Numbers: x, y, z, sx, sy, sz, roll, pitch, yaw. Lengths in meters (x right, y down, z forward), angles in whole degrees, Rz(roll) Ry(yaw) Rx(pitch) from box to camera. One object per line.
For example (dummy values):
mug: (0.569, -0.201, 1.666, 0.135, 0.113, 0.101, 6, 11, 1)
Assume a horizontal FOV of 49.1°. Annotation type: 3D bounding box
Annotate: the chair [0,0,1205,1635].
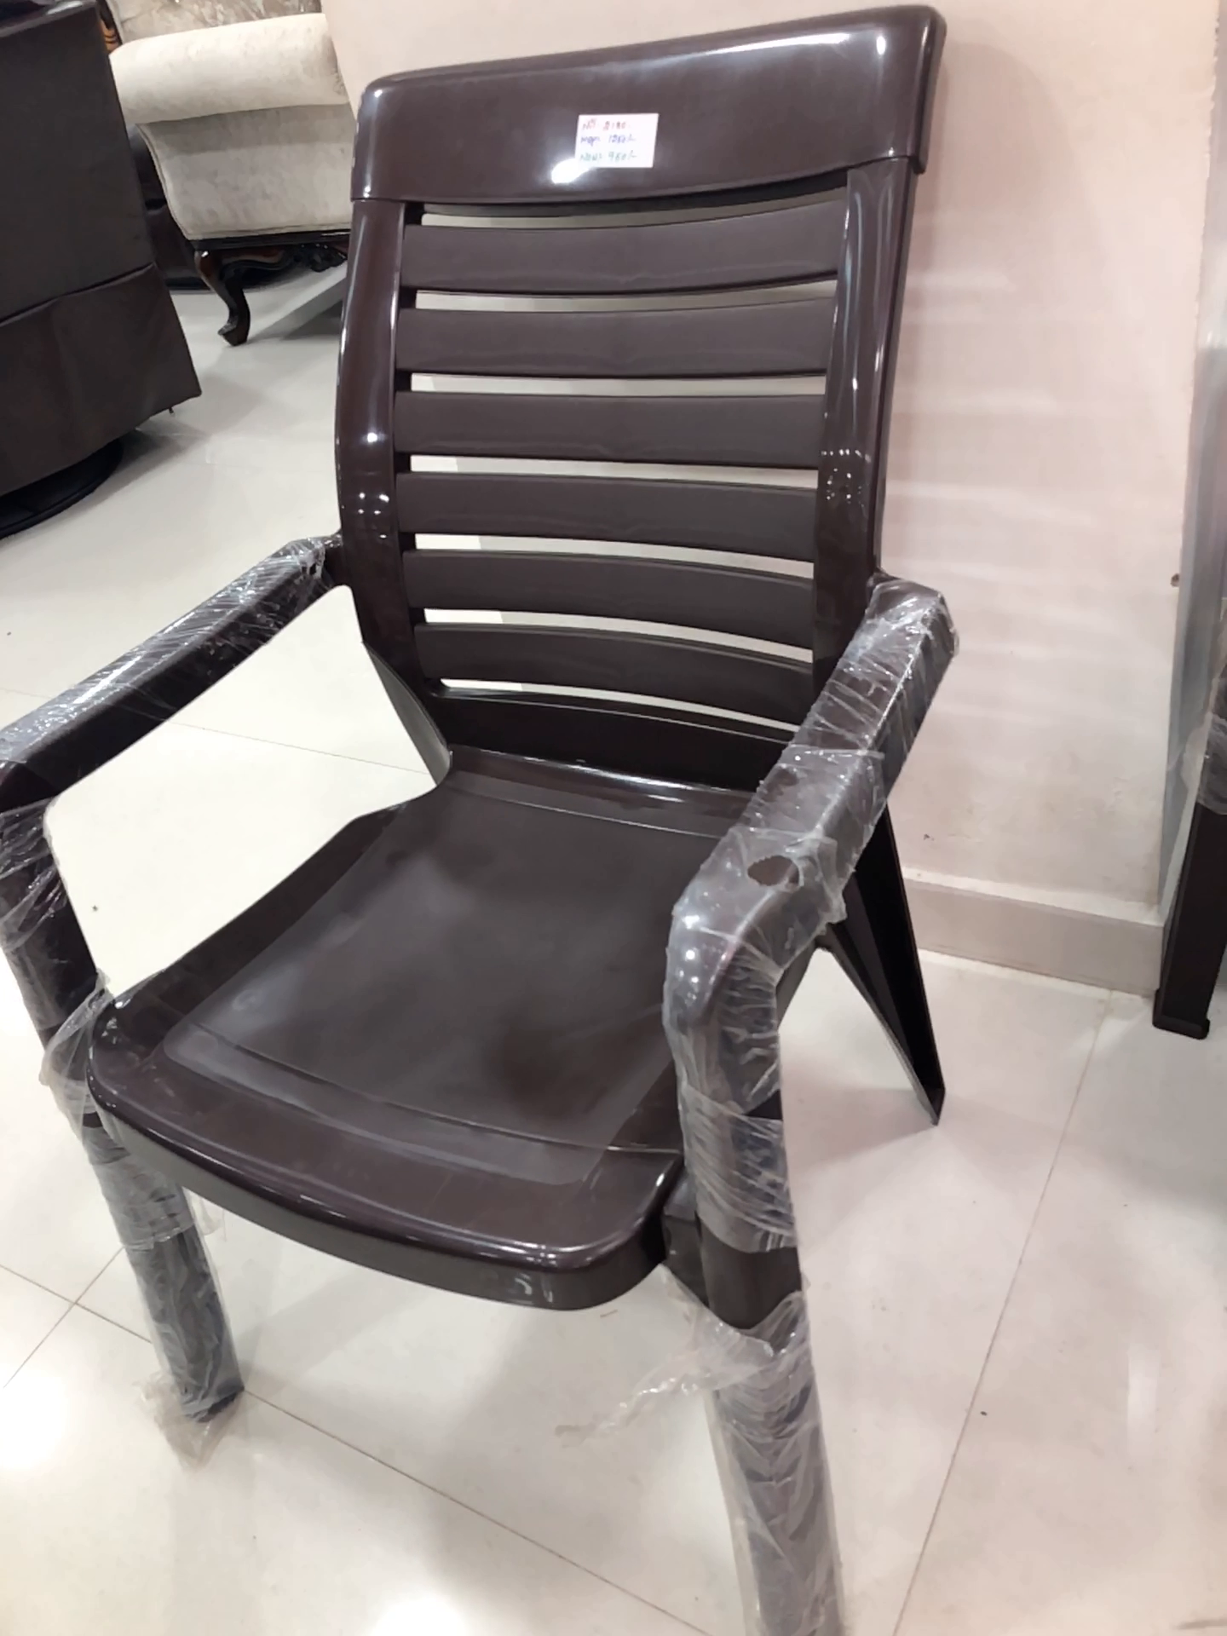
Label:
chair: (-0.013, -0.019, 0.976, 0.641, 1.004, 0.674, 11, 44, 29)
